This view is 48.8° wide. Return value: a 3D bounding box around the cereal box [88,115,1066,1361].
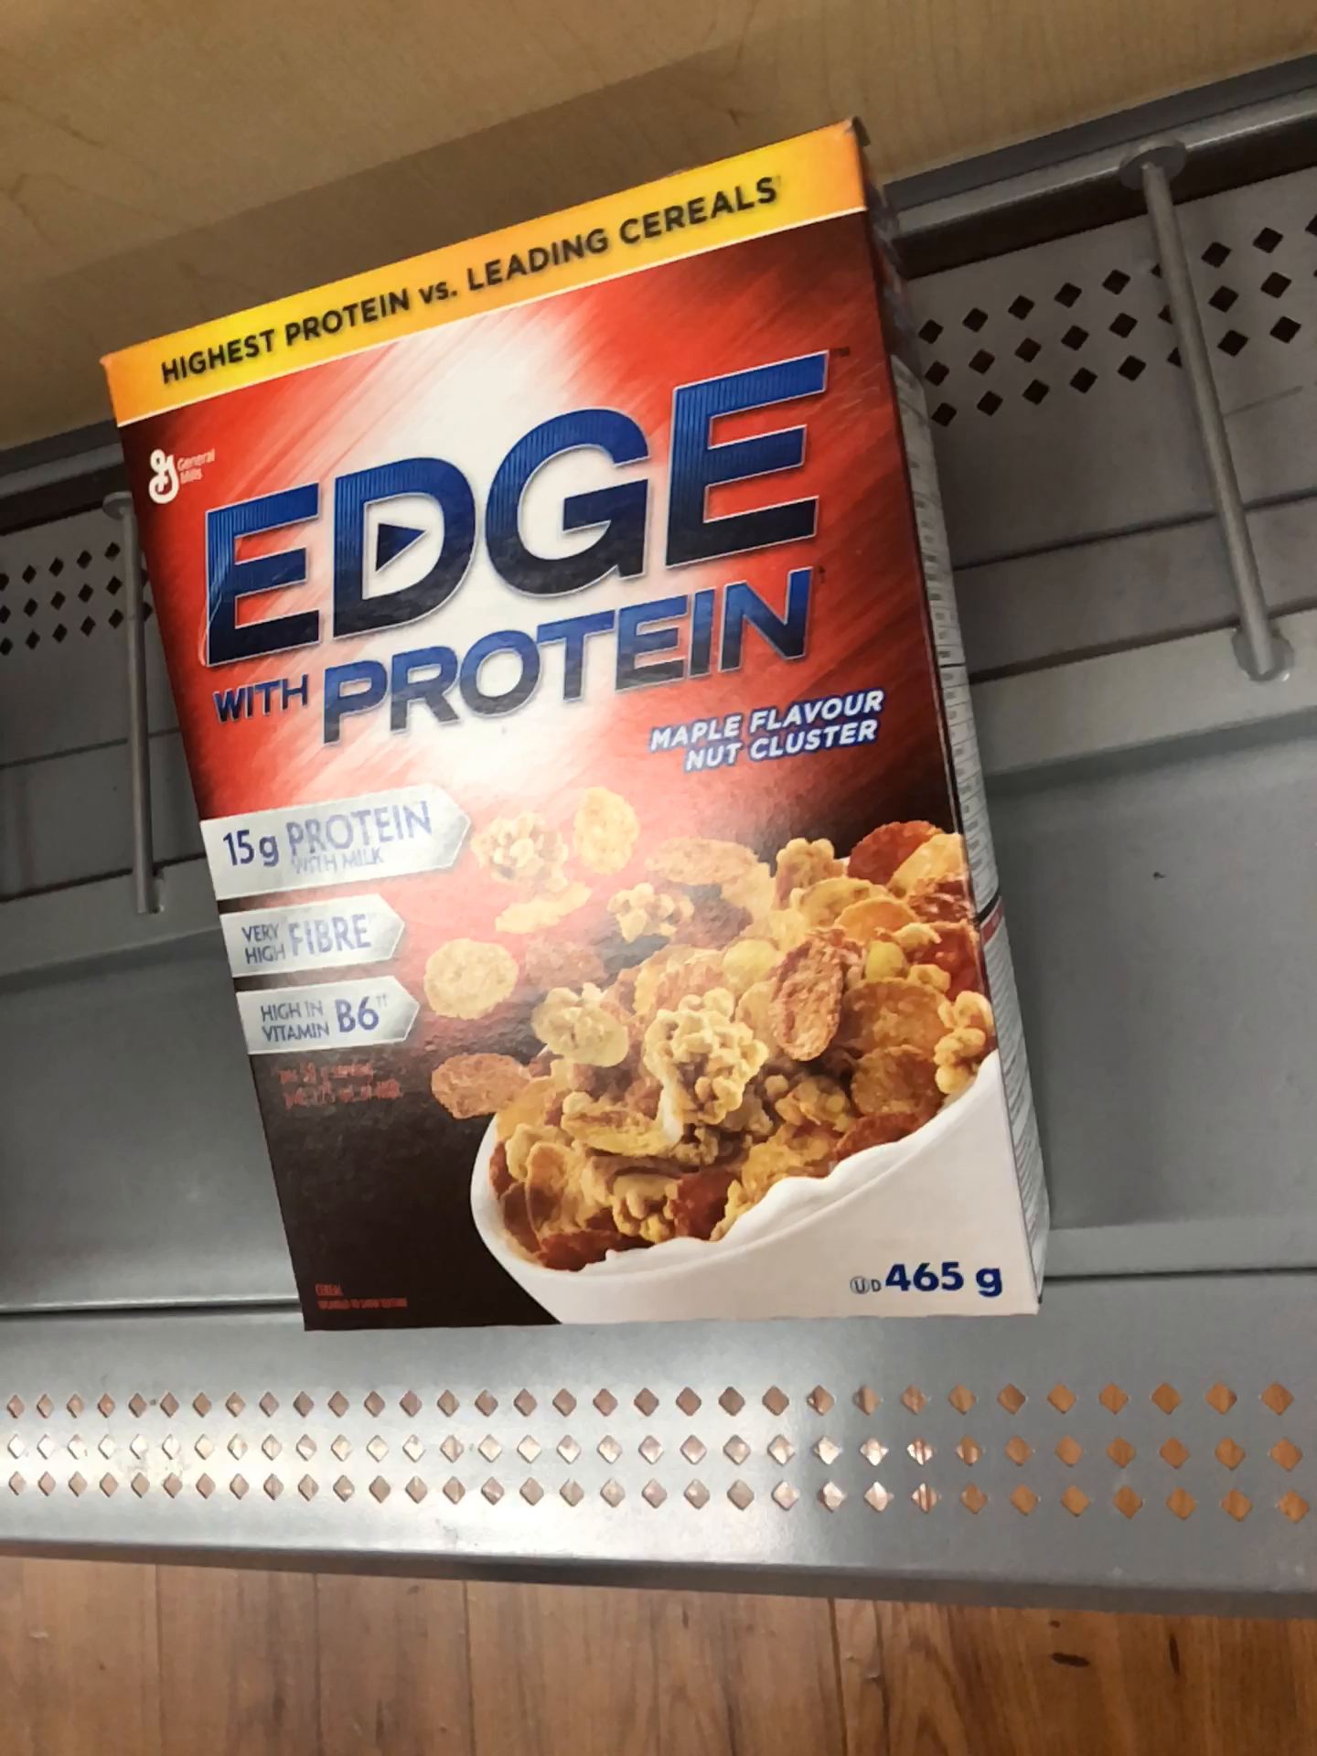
[{"bbox_3d":[-0.020,-0.018,0.370,0.200,0.070,0.260,-7,93,21],"label":"cereal box"}]
